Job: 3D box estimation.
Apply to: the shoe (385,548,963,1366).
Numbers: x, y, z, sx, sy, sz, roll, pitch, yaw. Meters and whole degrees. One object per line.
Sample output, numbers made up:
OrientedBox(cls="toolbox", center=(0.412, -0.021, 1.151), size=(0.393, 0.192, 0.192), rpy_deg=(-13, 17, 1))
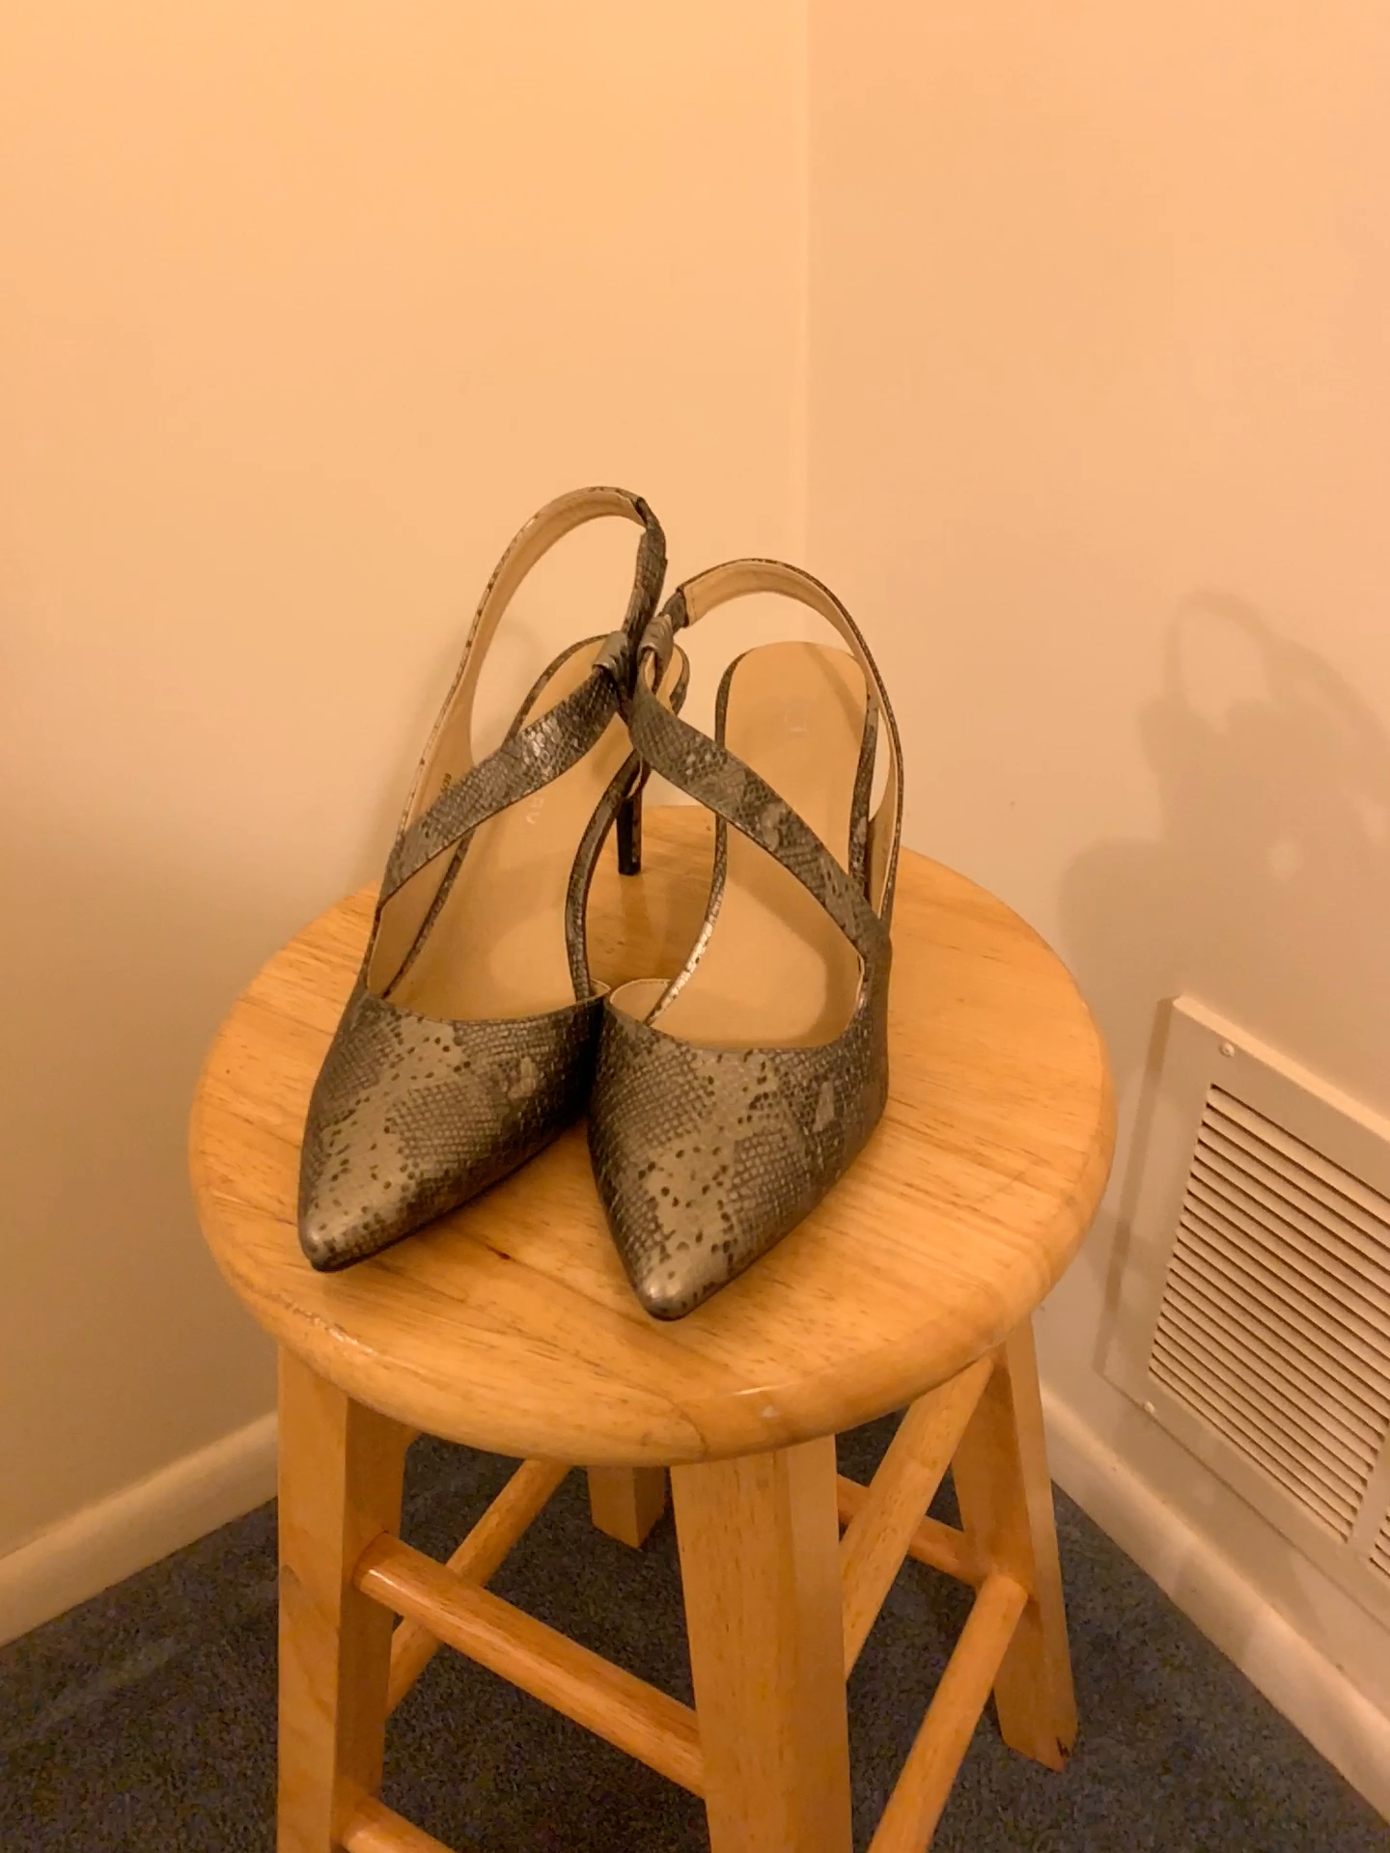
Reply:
OrientedBox(cls="shoe", center=(0.014, -0.014, 0.422), size=(0.102, 0.106, 0.251), rpy_deg=(6, 36, 12))

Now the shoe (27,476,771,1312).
OrientedBox(cls="shoe", center=(-0.060, -0.035, 0.448), size=(0.100, 0.125, 0.271), rpy_deg=(9, 36, 16))
